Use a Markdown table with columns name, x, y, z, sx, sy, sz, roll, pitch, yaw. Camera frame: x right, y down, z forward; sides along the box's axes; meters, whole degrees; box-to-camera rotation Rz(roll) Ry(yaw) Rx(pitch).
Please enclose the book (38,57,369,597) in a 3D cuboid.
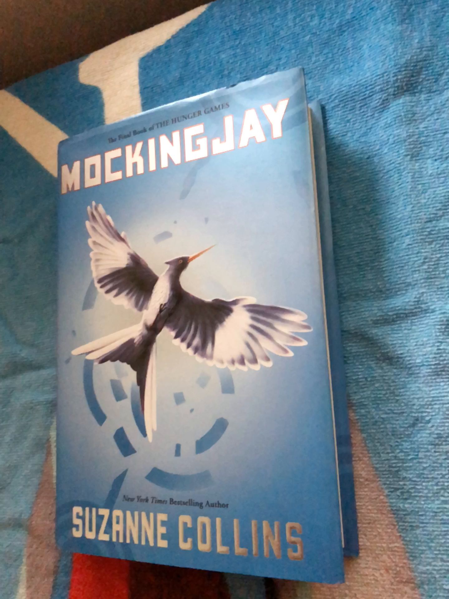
| name | x | y | z | sx | sy | sz | roll | pitch | yaw |
| --- | --- | --- | --- | --- | --- | --- | --- | --- | --- |
| book | -0.018 | 0.011 | 0.232 | 0.140 | 0.040 | 0.200 | -7 | 79 | 25 |
